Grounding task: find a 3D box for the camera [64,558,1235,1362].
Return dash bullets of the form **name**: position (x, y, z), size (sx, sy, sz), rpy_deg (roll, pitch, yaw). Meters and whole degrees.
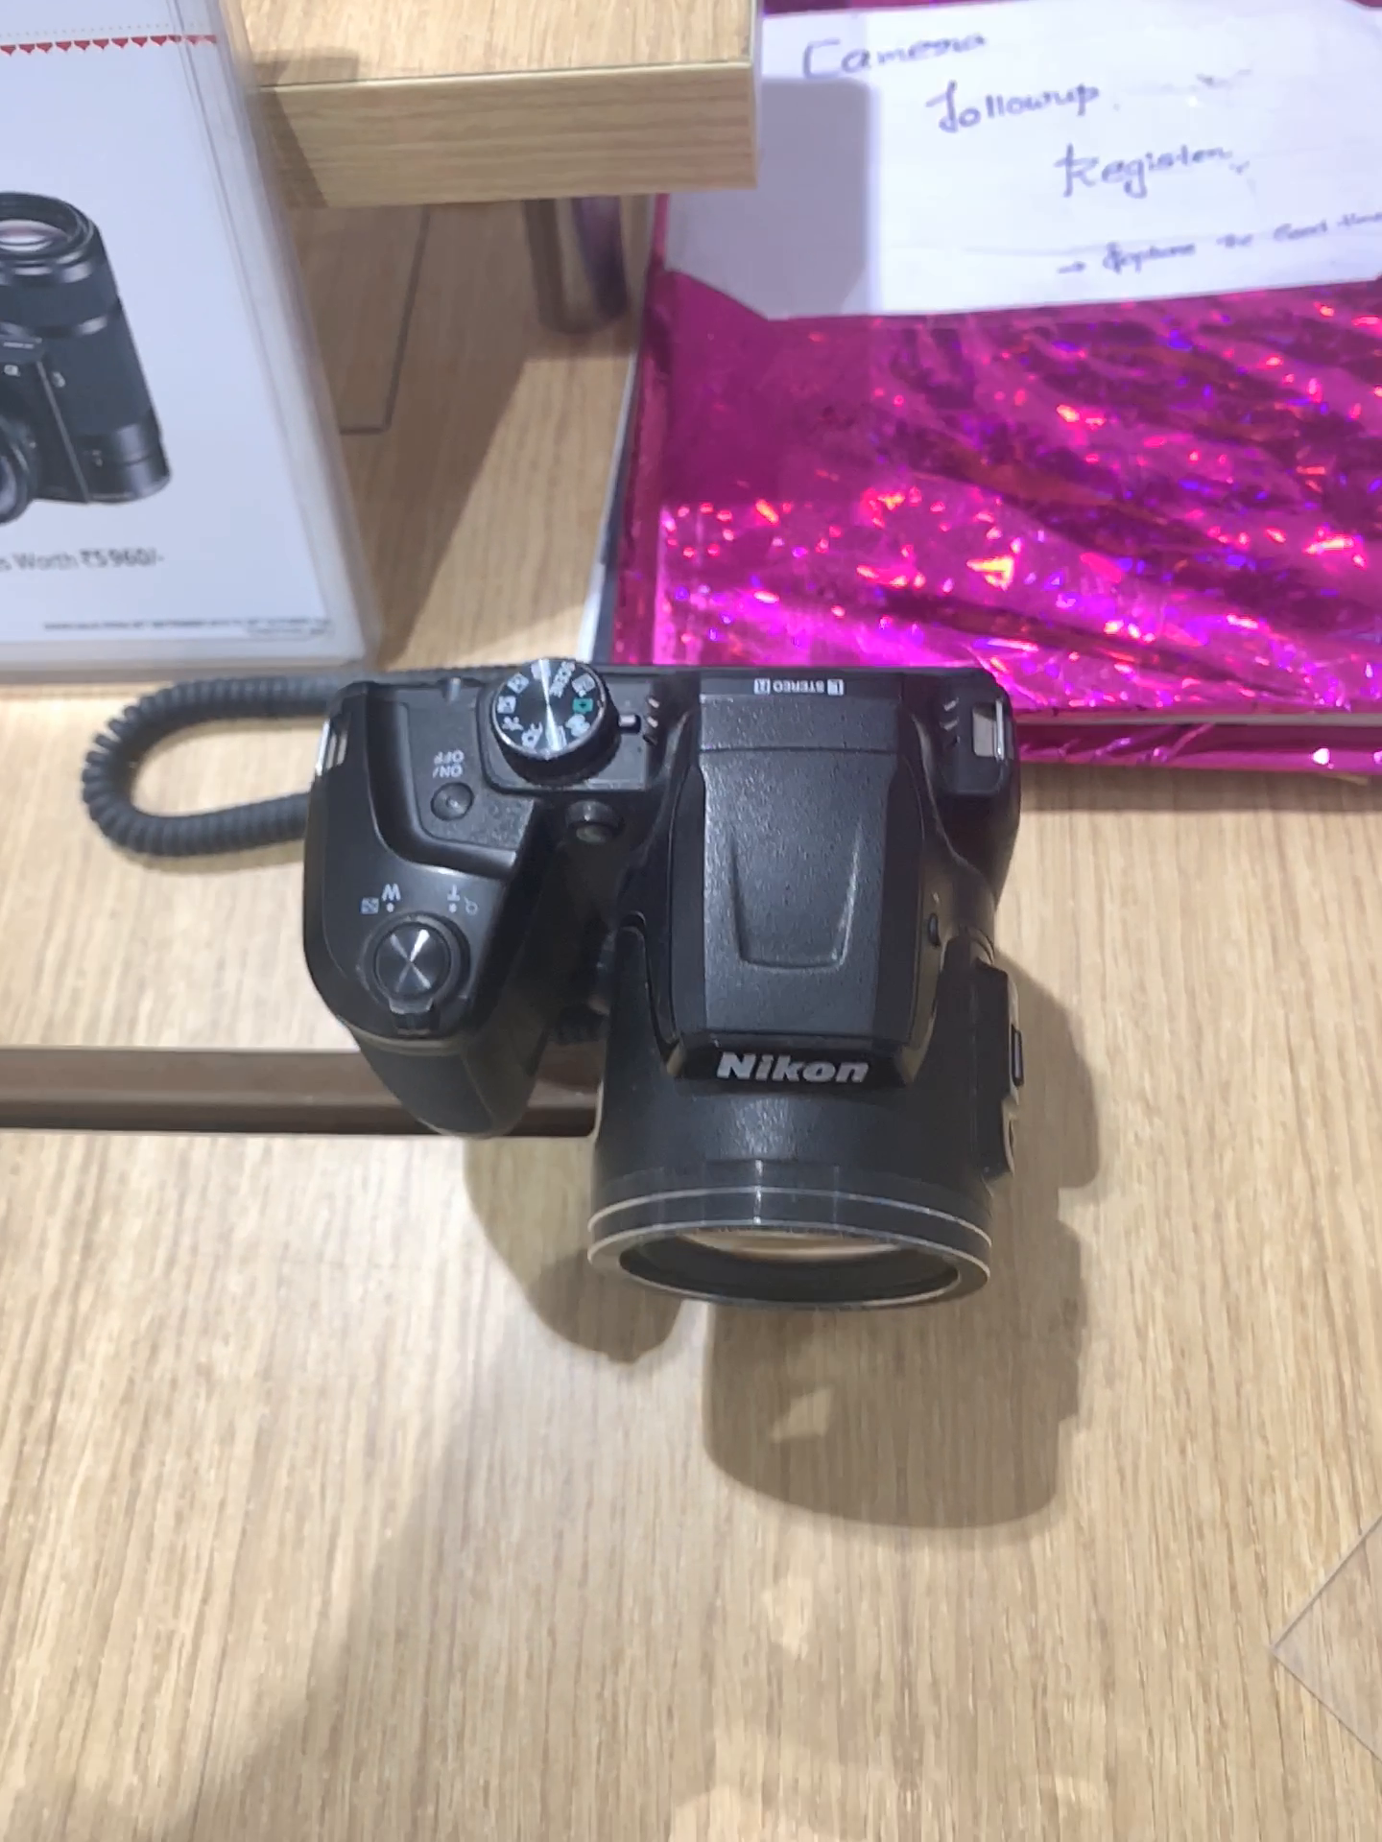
- **camera**: position (-0.002, 0.011, 0.219), size (0.130, 0.090, 0.090), rpy_deg (1, 64, 5)
